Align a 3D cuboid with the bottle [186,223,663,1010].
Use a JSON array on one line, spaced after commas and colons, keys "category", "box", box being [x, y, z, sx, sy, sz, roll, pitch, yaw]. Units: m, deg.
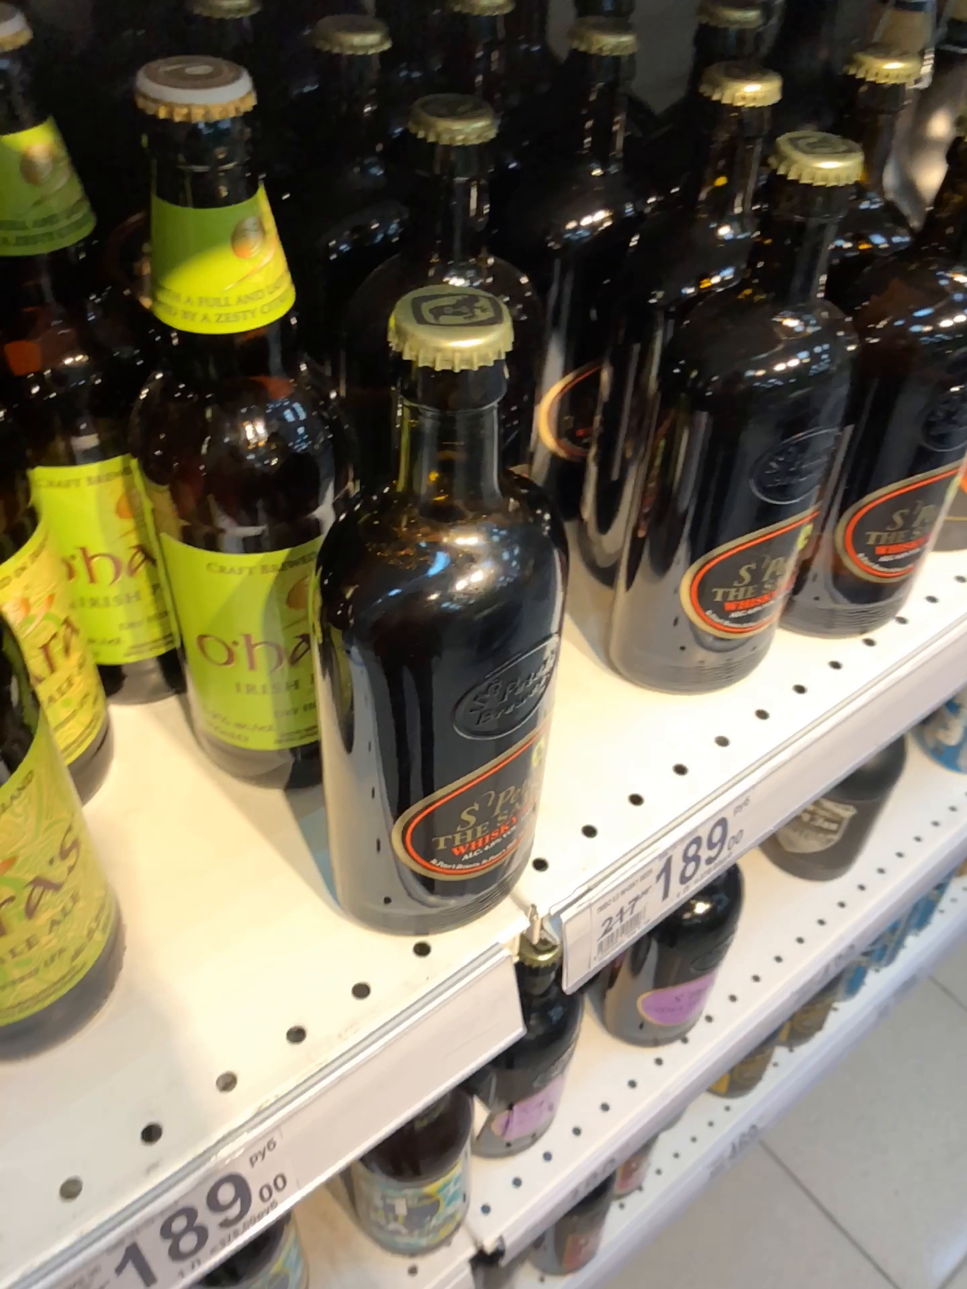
[{"category": "bottle", "box": [-0.018, 0.007, 0.323, 0.090, 0.229, 0.060, -29, 53, -29]}]
